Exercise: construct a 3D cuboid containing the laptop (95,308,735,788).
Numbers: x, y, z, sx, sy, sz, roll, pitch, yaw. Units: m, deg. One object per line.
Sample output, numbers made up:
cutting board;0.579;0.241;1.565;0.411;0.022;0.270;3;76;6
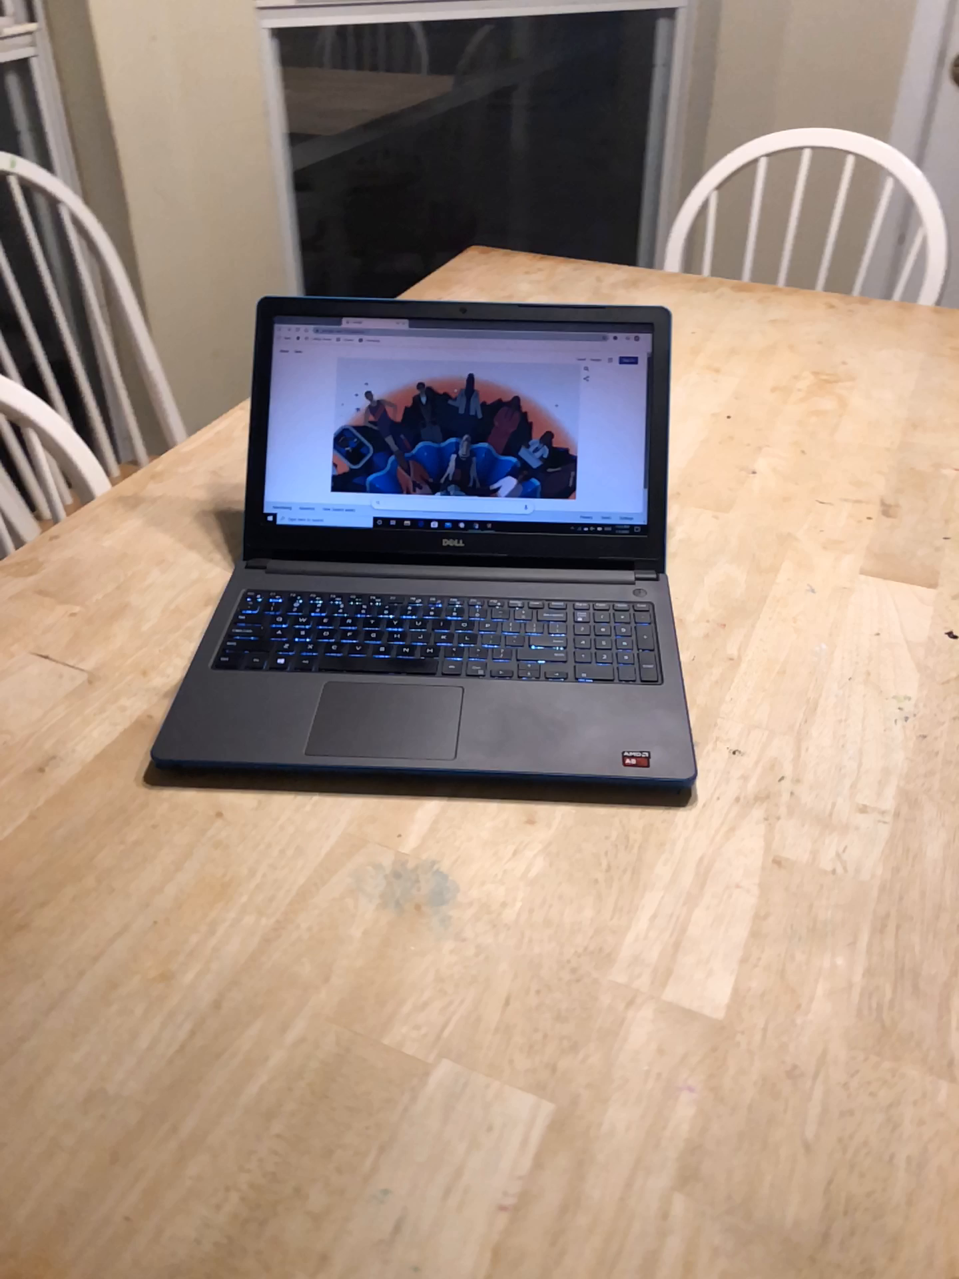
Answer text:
laptop;-0.030;-0.101;0.821;0.366;0.174;0.421;1;36;3
